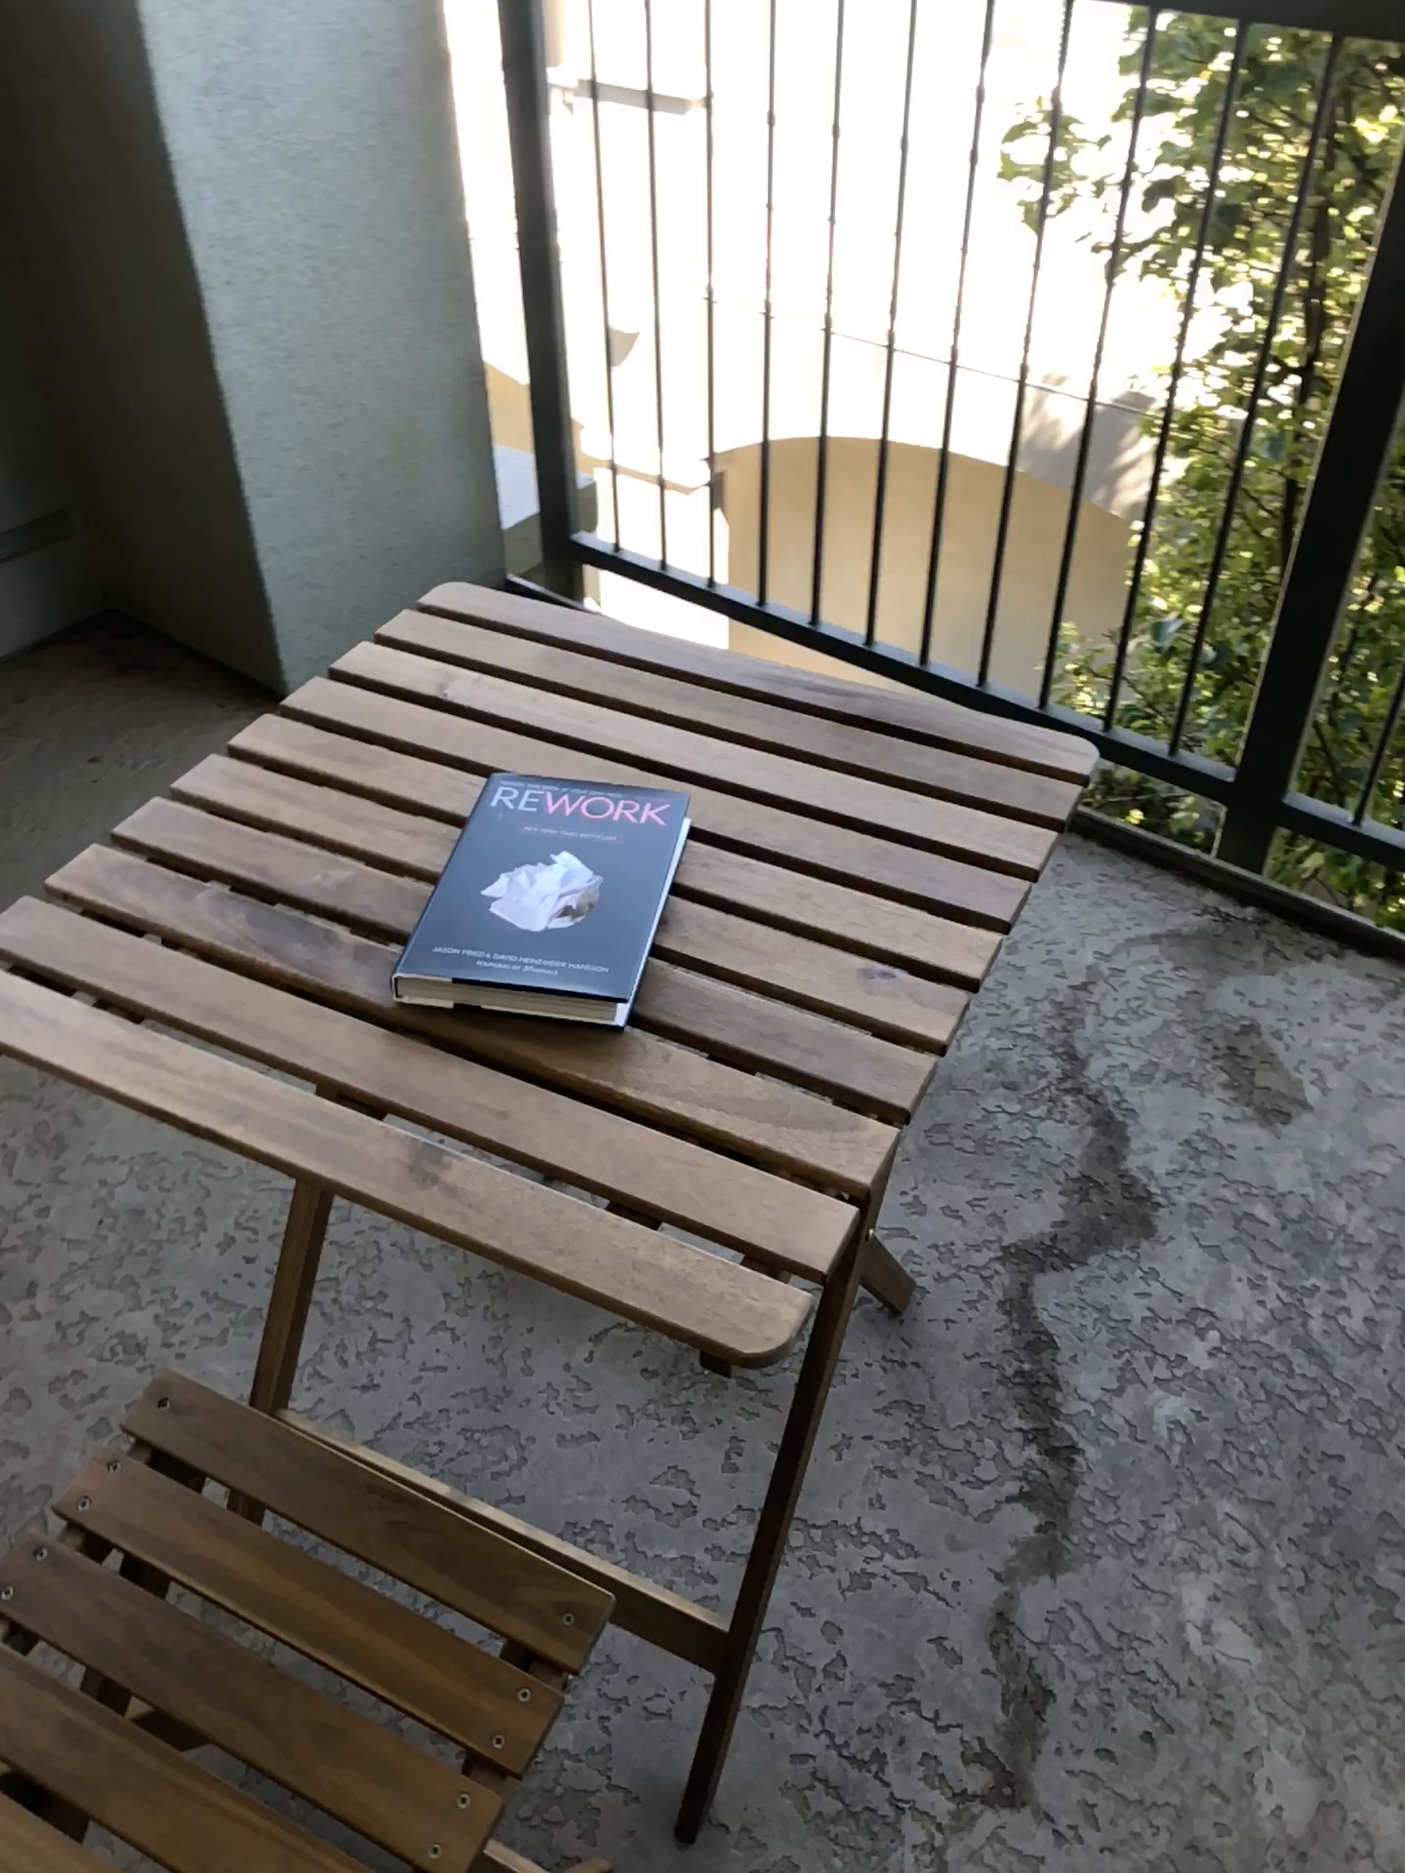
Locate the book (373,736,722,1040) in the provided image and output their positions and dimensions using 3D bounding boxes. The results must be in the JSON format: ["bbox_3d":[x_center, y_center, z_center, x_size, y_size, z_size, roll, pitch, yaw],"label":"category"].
[{"bbox_3d":[-0.091,-0.040,1.016,0.170,0.040,0.241,6,41,8],"label":"book"}]
